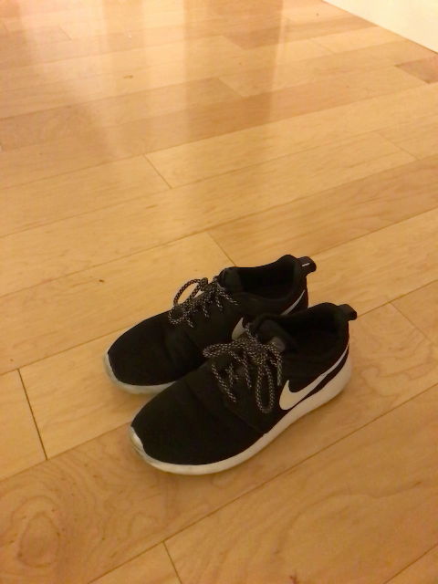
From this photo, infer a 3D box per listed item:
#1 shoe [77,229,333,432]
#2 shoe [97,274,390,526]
[{"bbox_3d":[-0.010,0.036,0.587,0.291,0.099,0.100,-25,52,-25],"label":"shoe"},{"bbox_3d":[0.032,0.103,0.518,0.291,0.099,0.110,-25,52,-25],"label":"shoe"}]
